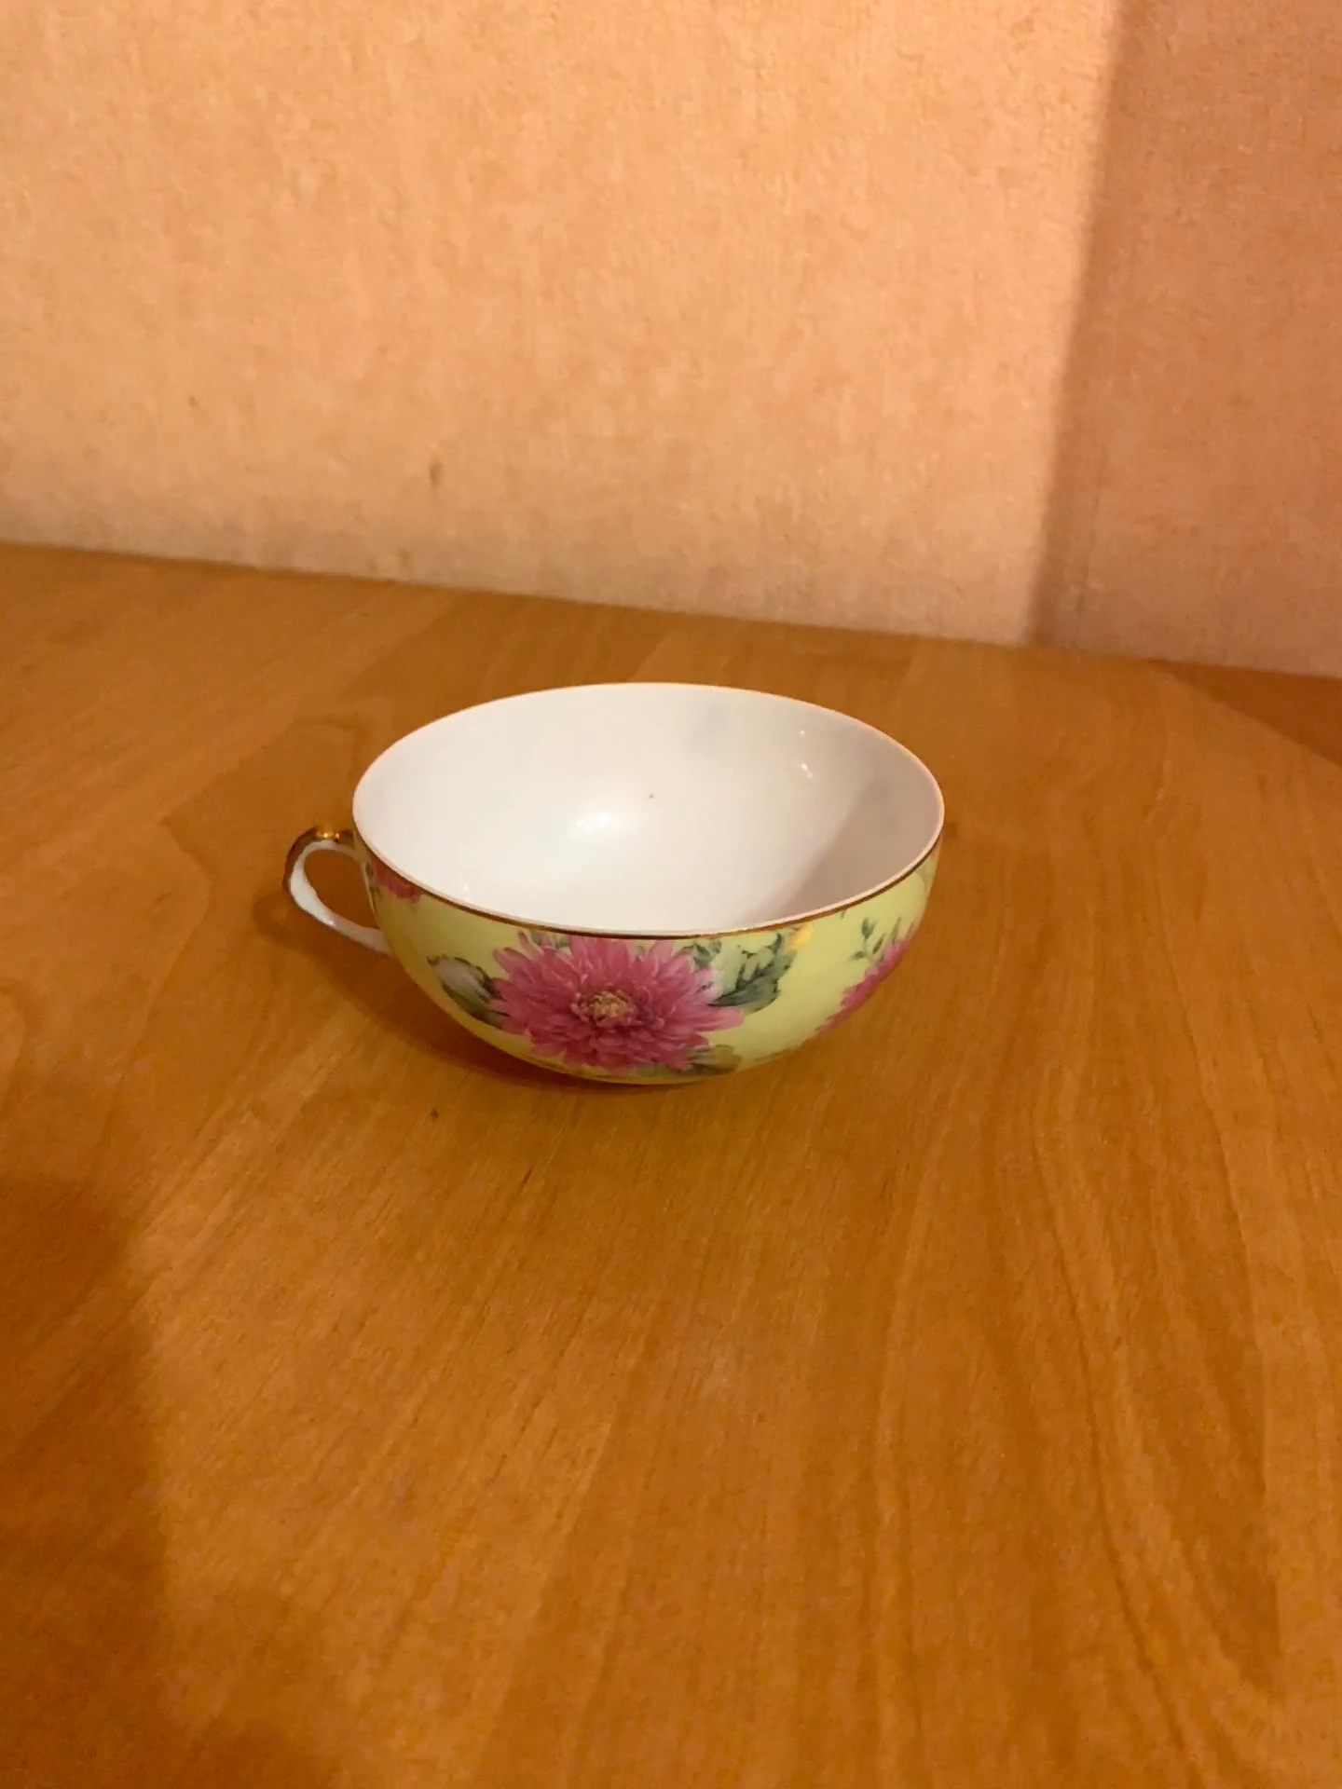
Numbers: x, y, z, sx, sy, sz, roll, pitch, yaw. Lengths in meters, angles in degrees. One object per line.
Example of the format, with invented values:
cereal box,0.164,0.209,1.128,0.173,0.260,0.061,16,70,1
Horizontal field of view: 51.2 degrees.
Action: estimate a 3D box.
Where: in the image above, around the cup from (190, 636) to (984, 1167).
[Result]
cup,-0.009,-0.006,0.244,0.113,0.045,0.079,8,30,14
